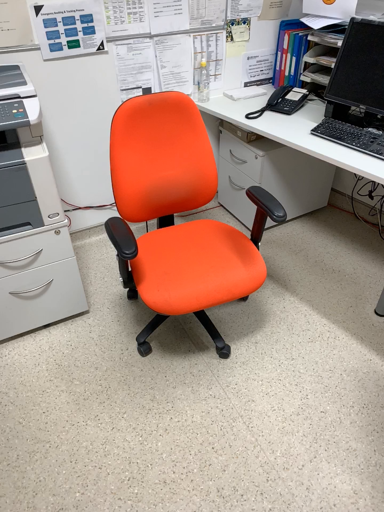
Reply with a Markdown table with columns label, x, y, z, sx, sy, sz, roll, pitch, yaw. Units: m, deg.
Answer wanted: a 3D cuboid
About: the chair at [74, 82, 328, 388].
| label | x | y | z | sx | sy | sz | roll | pitch | yaw |
| --- | --- | --- | --- | --- | --- | --- | --- | --- | --- |
| chair | -0.022 | -0.109 | 1.584 | 0.651 | 0.892 | 0.691 | -13 | 41 | -15 |
